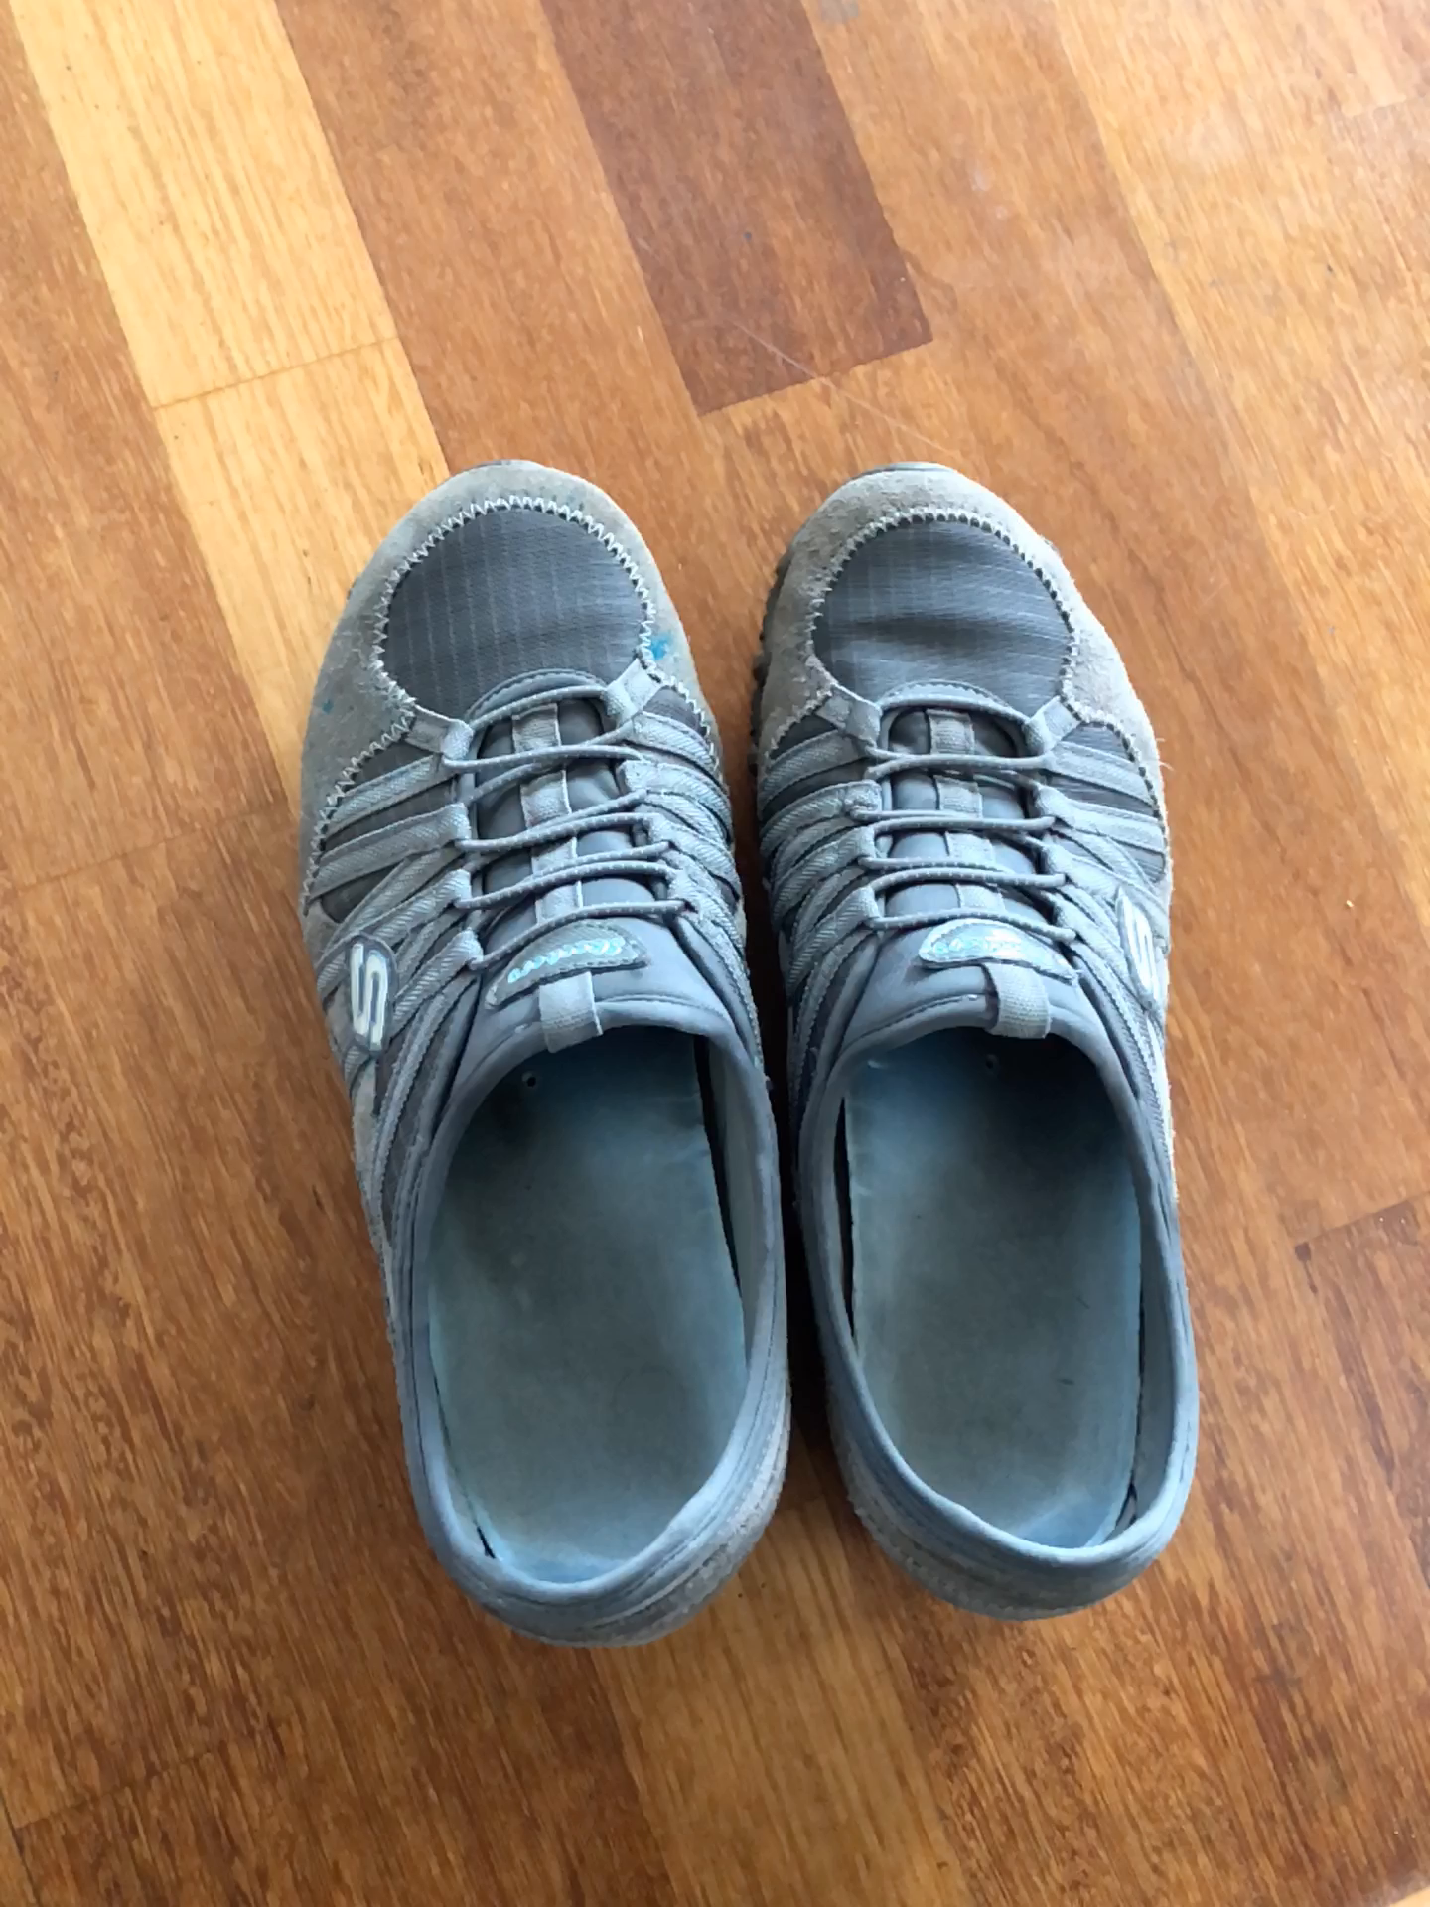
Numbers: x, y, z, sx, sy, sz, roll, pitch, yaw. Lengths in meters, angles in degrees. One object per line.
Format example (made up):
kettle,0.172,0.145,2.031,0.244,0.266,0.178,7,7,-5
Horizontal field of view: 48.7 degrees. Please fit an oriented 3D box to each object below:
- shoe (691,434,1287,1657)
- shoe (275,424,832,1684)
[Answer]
shoe,0.055,0.018,0.383,0.093,0.106,0.249,-4,84,-6
shoe,-0.040,0.019,0.378,0.096,0.106,0.253,-4,84,-6
